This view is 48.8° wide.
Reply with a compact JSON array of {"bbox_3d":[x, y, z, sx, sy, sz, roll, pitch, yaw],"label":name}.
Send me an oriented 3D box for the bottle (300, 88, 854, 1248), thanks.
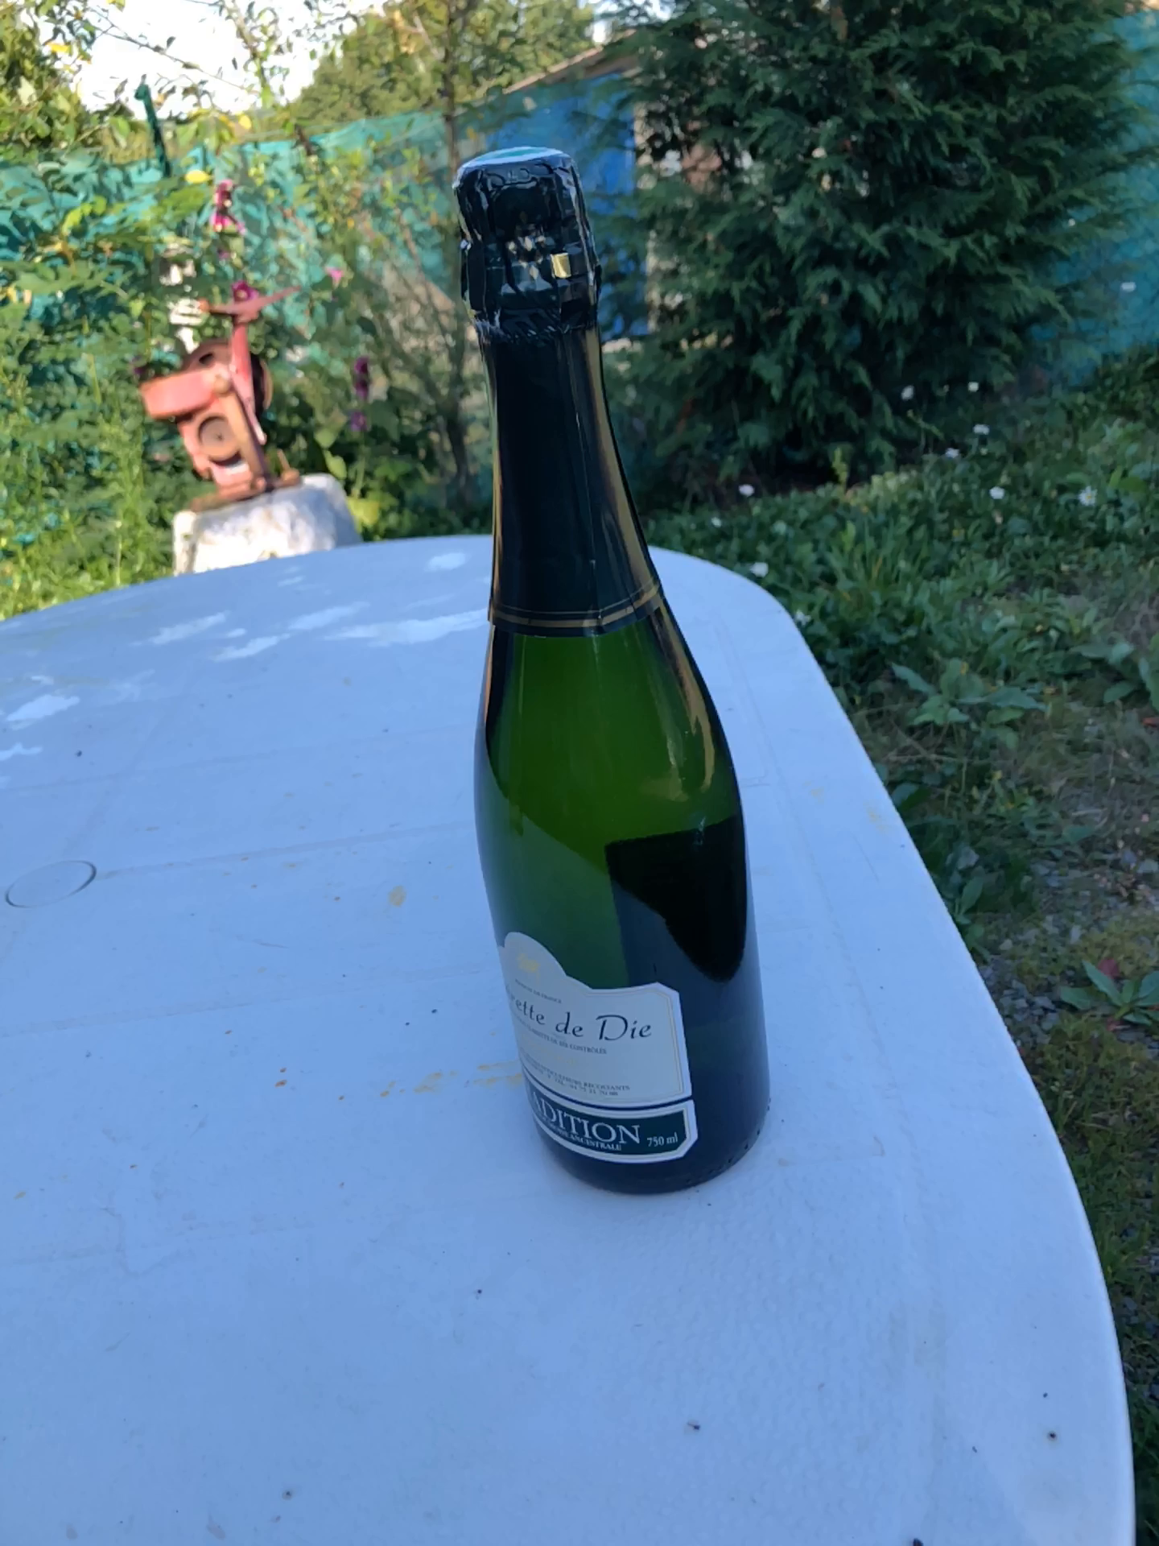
[{"bbox_3d":[0.014,-0.024,0.383,0.100,0.308,0.090,-28,33,-37],"label":"bottle"}]
